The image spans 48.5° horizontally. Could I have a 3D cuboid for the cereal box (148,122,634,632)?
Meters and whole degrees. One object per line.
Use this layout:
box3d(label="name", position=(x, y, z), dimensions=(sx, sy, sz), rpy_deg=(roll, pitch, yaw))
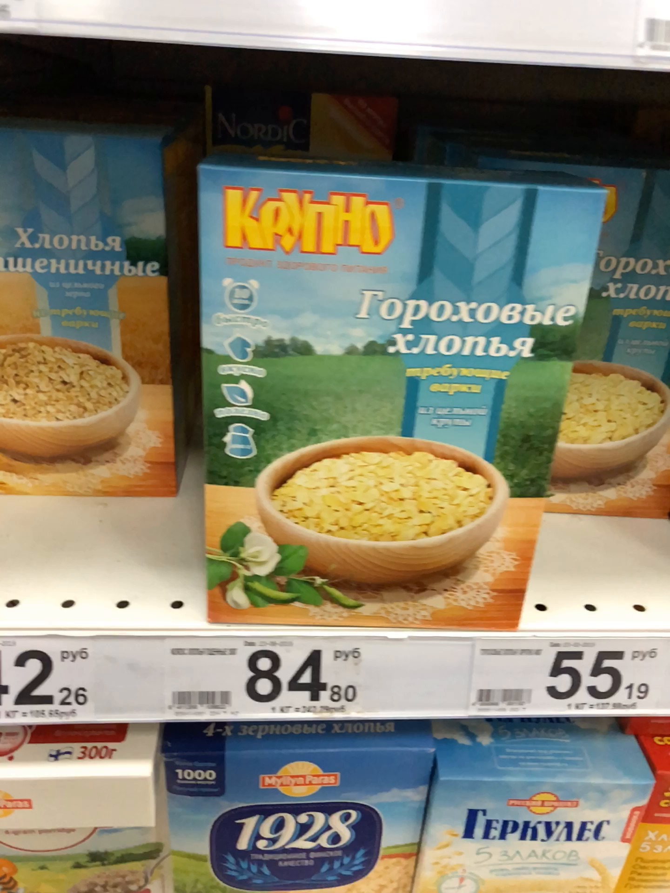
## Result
box3d(label="cereal box", position=(0.013, -0.020, 0.309), dimensions=(0.160, 0.199, 0.050), rpy_deg=(2, 26, -3))
